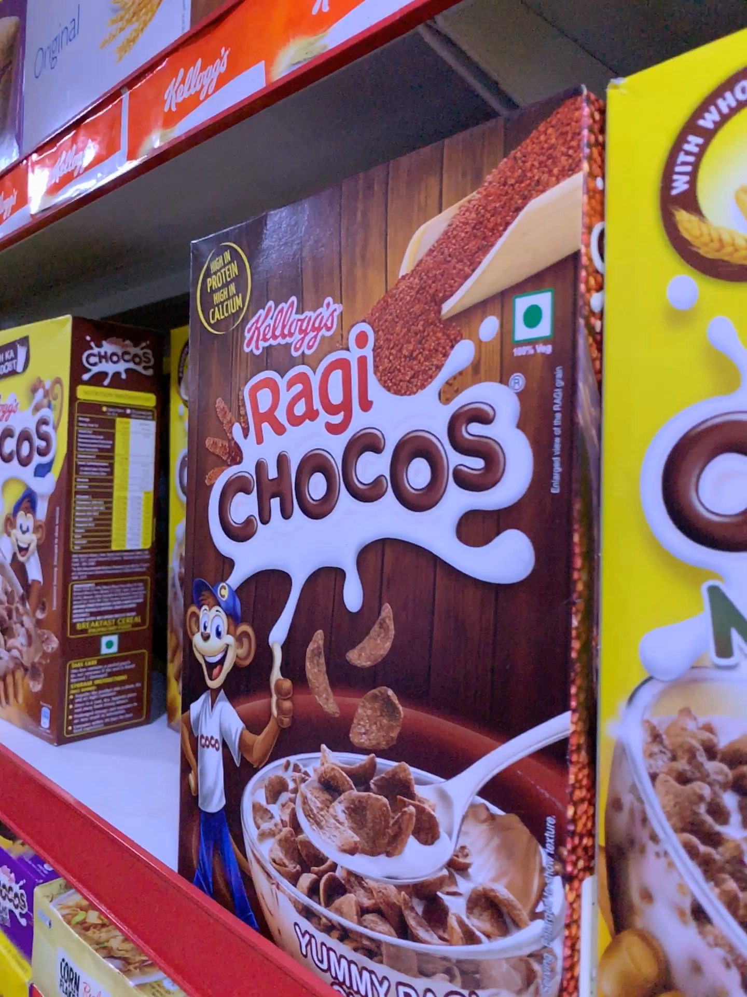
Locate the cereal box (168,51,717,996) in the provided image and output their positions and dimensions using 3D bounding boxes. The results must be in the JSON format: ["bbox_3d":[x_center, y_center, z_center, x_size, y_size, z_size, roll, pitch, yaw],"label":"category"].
[{"bbox_3d":[0.005,0.026,0.247,0.060,0.240,0.180,1,0,-41],"label":"cereal box"}]
